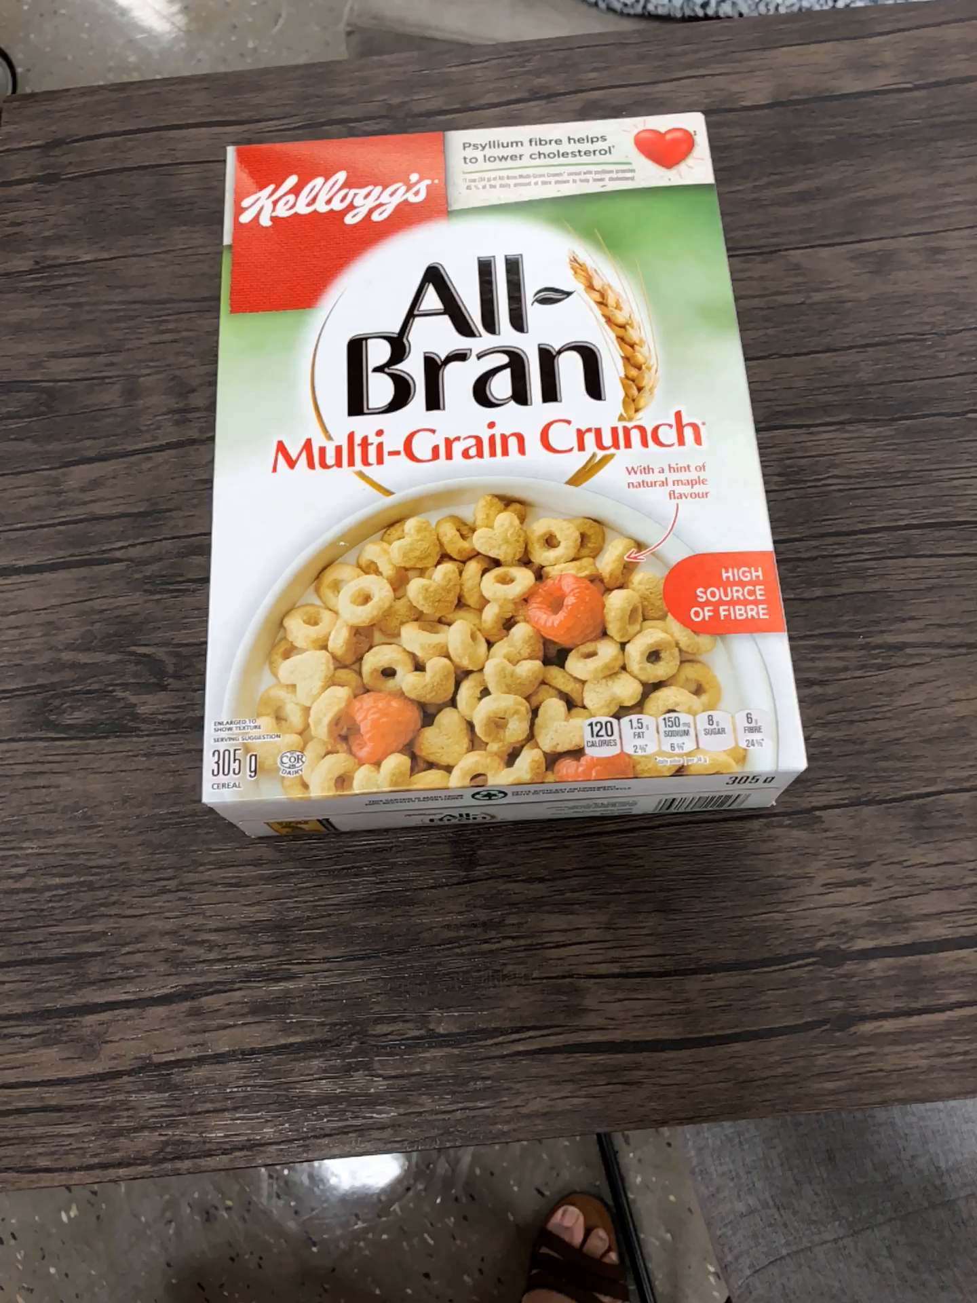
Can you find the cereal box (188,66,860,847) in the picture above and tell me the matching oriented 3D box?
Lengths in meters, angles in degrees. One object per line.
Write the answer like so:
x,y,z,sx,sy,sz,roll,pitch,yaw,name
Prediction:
0.004,-0.085,0.428,0.210,0.070,0.300,-4,68,1,cereal box
